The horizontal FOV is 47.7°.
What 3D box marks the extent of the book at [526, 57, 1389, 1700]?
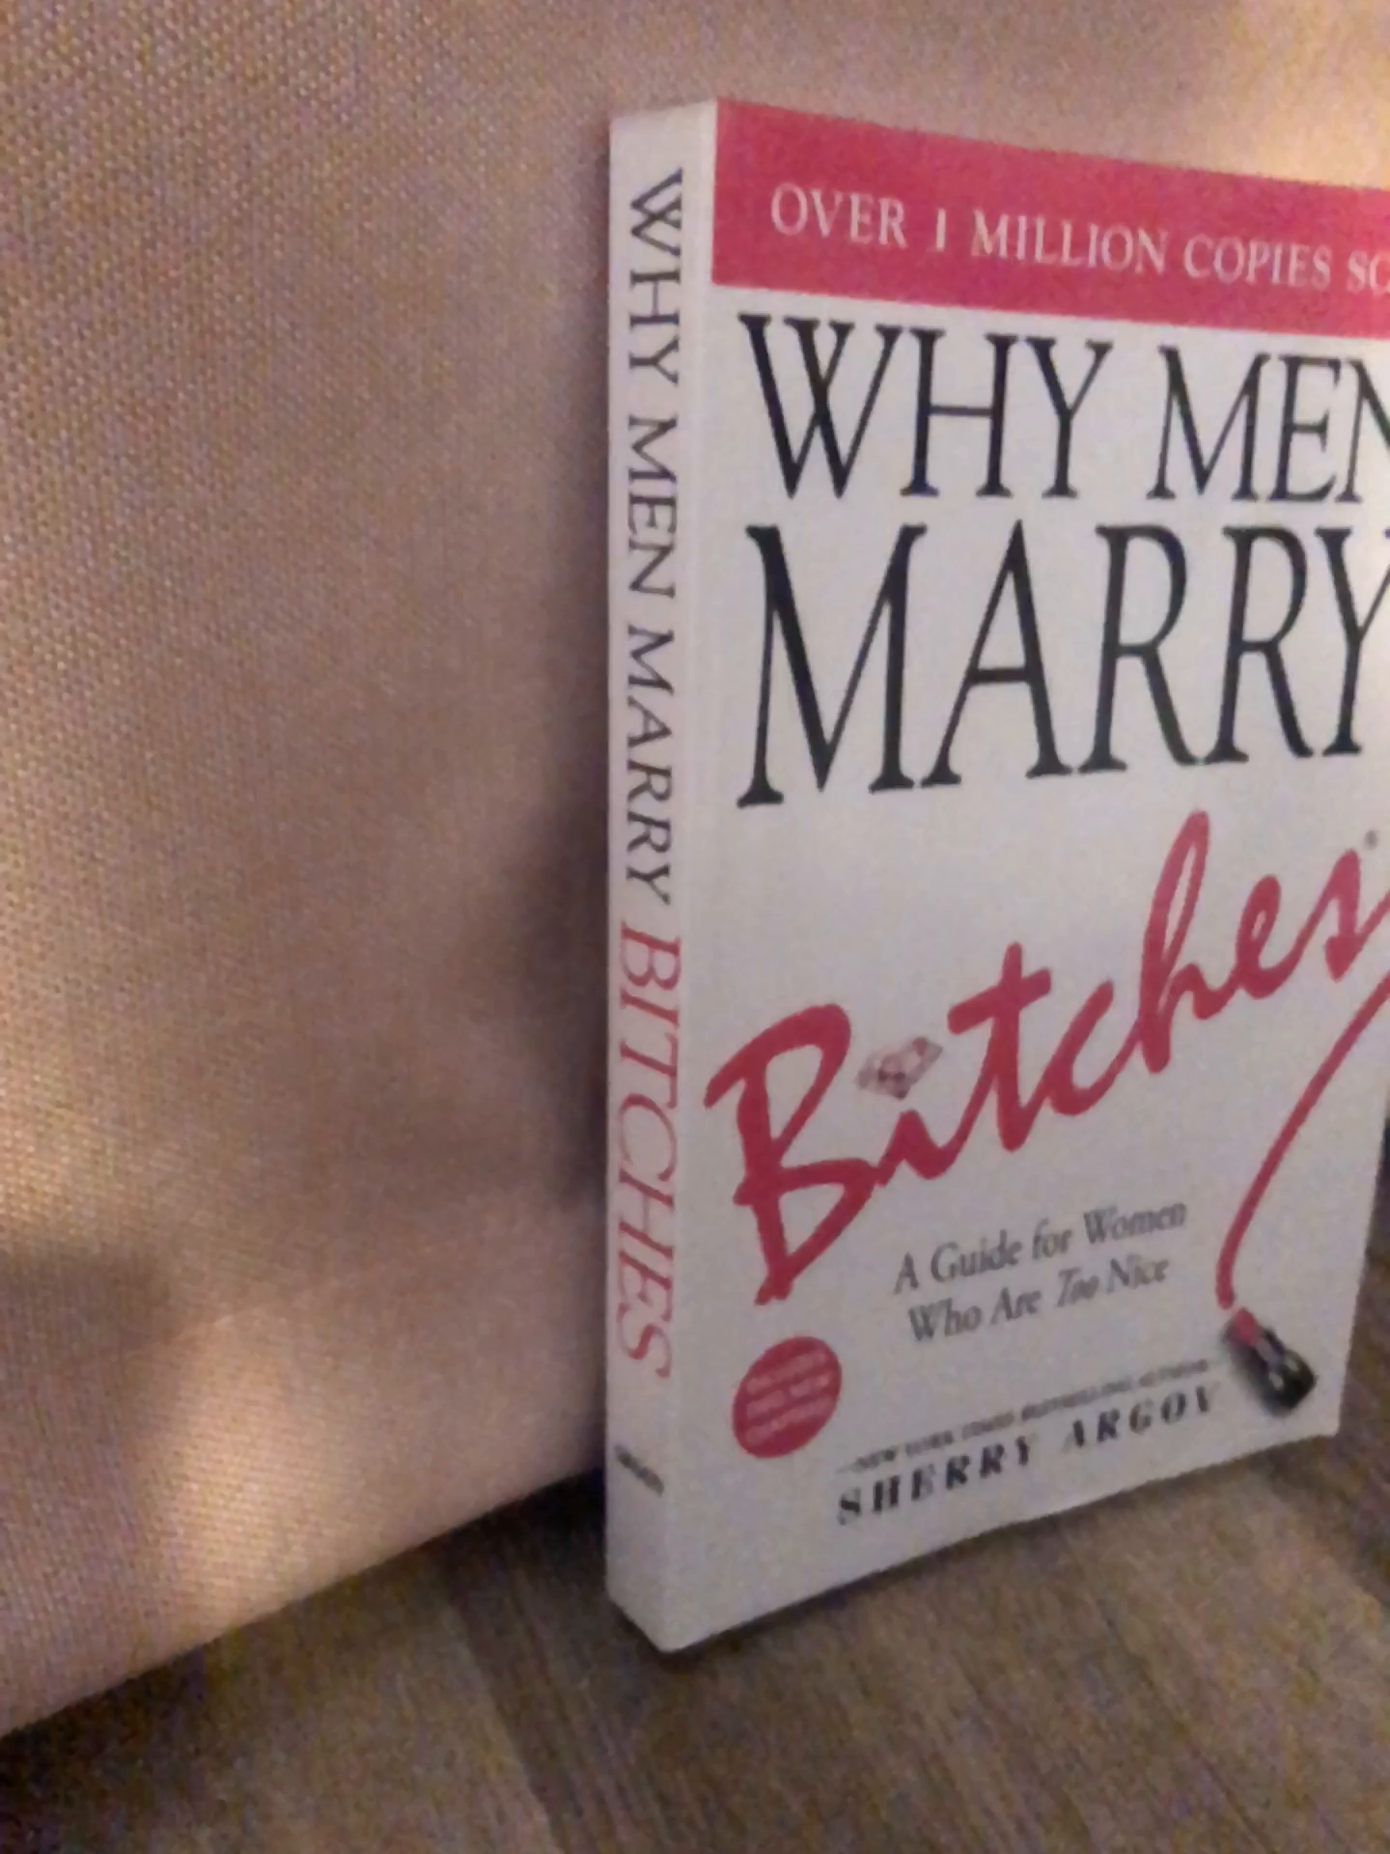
[{"bbox_3d":[0.051,-0.003,0.252,0.150,0.219,0.037,-6,18,-27],"label":"book"}]
